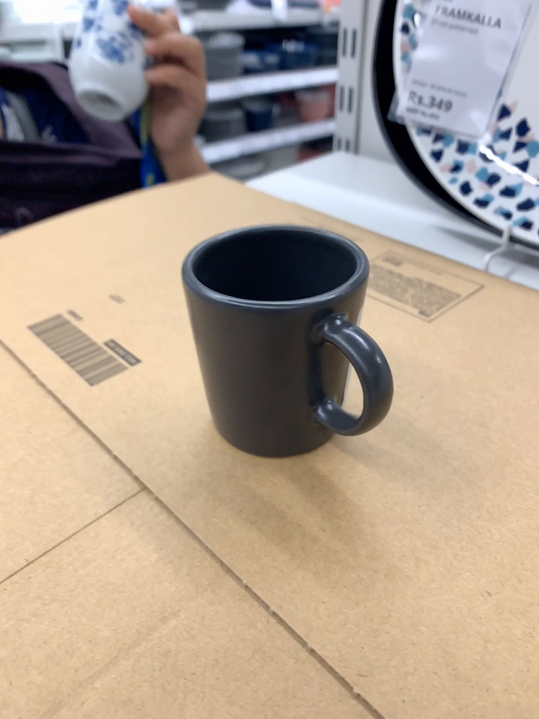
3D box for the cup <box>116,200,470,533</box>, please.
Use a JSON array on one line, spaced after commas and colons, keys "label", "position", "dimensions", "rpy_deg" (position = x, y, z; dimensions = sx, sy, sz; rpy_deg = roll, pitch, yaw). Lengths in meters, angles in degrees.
[{"label": "cup", "position": [0.004, -0.006, 0.189], "dimensions": [0.090, 0.060, 0.060], "rpy_deg": [29, 44, 35]}]
